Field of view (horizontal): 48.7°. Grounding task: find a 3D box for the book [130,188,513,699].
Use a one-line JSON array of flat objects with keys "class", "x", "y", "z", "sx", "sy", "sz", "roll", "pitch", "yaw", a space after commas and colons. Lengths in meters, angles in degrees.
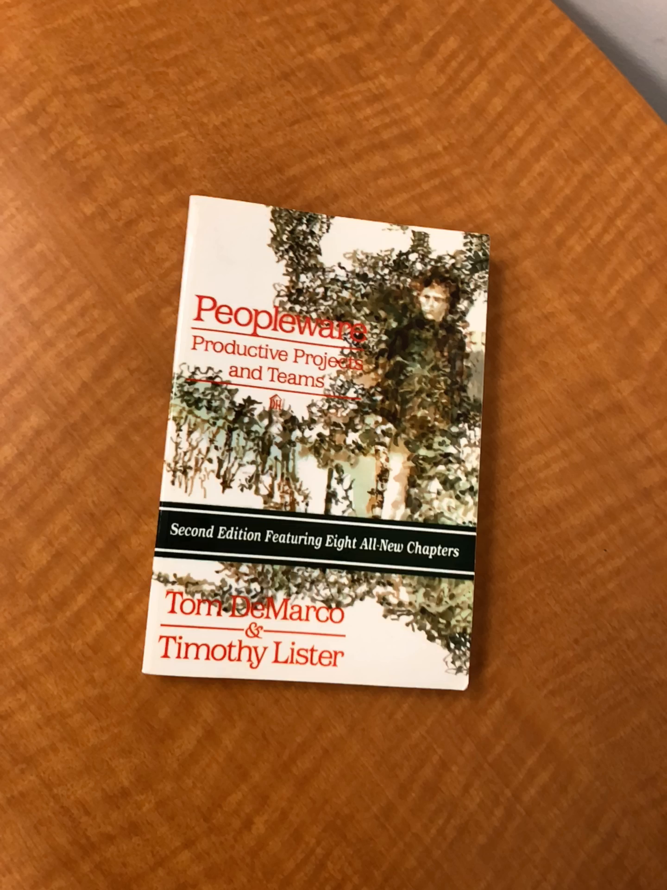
[{"class": "book", "x": -0.002, "y": 0.001, "z": 0.360, "sx": 0.160, "sy": 0.050, "sz": 0.220, "roll": 5, "pitch": 82, "yaw": -9}]
